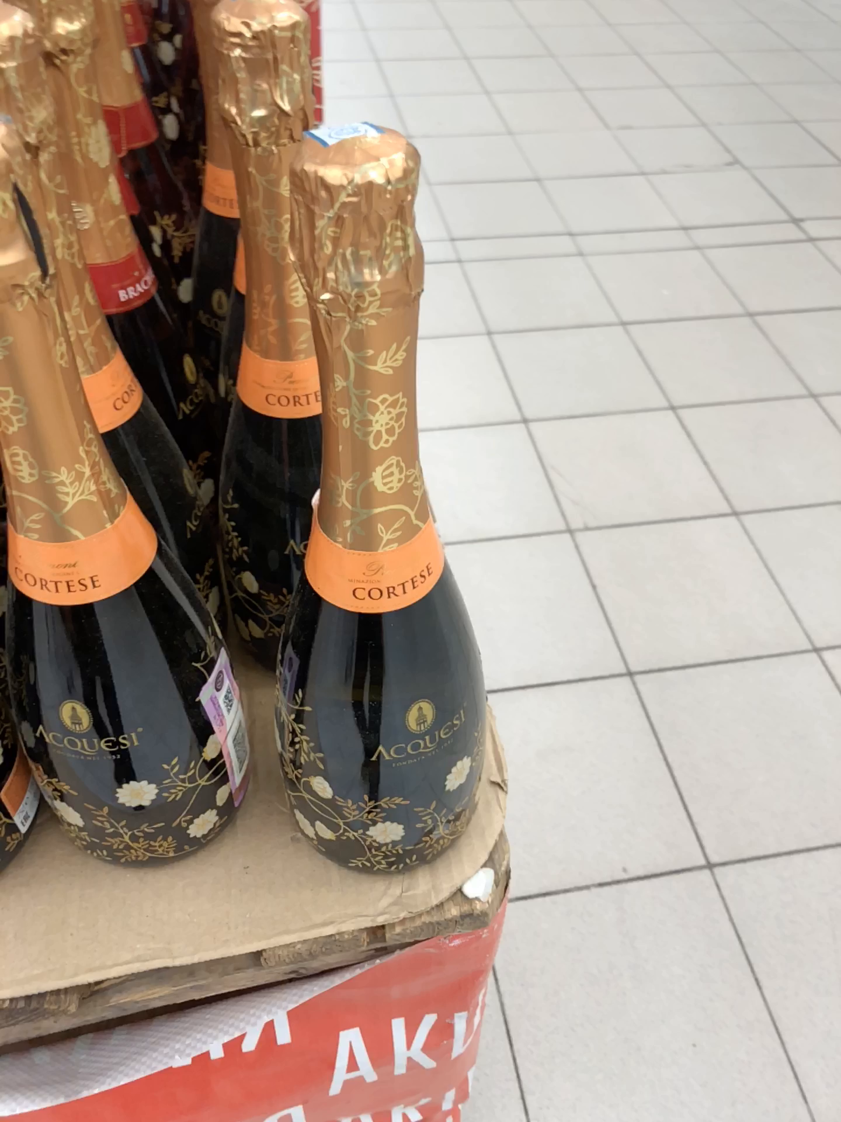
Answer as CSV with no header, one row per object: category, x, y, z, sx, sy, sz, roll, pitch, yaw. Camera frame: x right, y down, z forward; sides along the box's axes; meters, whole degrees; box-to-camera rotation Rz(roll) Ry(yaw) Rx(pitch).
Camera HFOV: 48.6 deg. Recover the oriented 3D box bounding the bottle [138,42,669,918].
bottle,-0.014,0.002,0.348,0.100,0.318,0.100,1,46,-2
